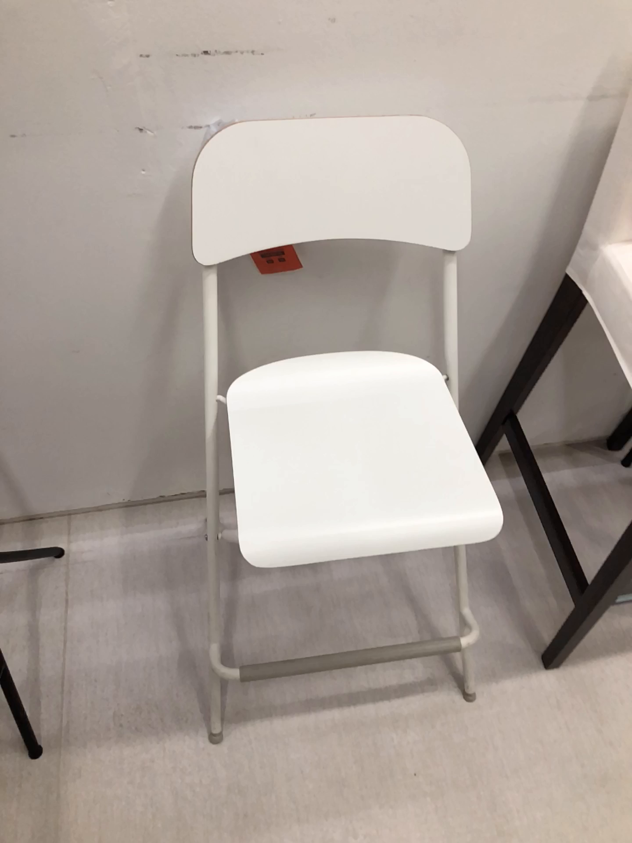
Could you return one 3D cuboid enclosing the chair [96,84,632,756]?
[{"bbox_3d":[0.045,0.075,1.031,0.530,0.895,0.483,-7,51,-8],"label":"chair"}]
